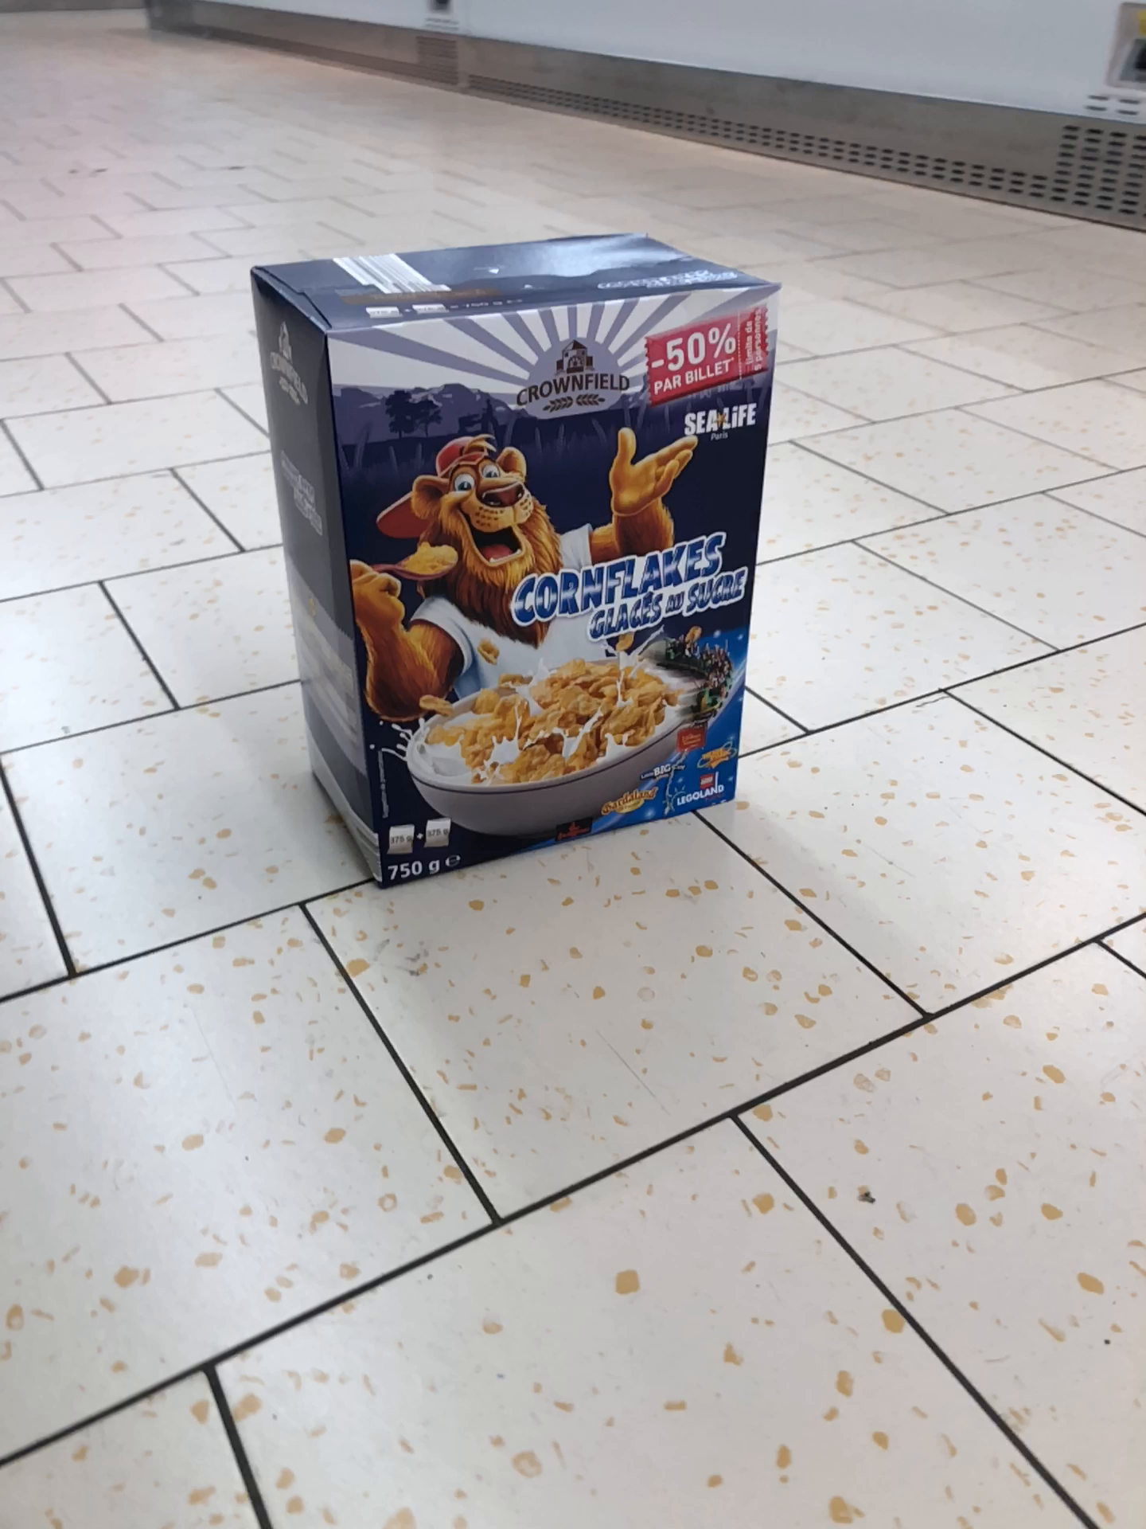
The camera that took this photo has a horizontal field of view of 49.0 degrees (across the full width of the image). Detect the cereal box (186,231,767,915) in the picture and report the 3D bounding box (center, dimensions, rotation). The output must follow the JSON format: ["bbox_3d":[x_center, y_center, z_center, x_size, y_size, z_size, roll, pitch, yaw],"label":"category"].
[{"bbox_3d":[-0.044,-0.095,0.592,0.211,0.258,0.130,-13,34,-20],"label":"cereal box"}]
